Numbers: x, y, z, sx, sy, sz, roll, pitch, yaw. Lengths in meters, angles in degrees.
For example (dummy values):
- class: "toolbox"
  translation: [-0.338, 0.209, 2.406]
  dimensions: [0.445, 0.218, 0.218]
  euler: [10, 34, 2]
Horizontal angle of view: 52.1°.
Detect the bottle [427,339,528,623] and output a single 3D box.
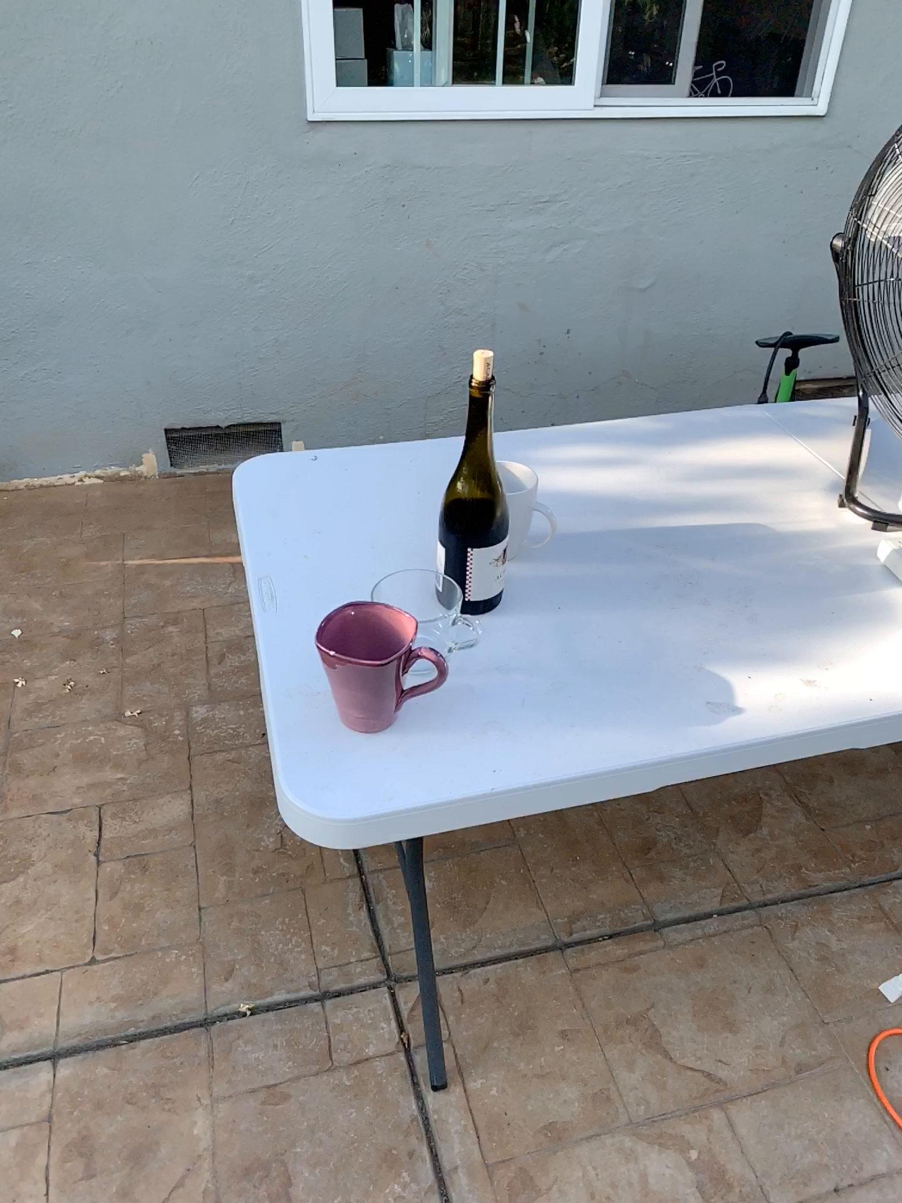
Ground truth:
- class: "bottle"
  translation: [0.027, -0.129, 1.047]
  dimensions: [0.090, 0.308, 0.080]
  euler: [7, 35, 7]
